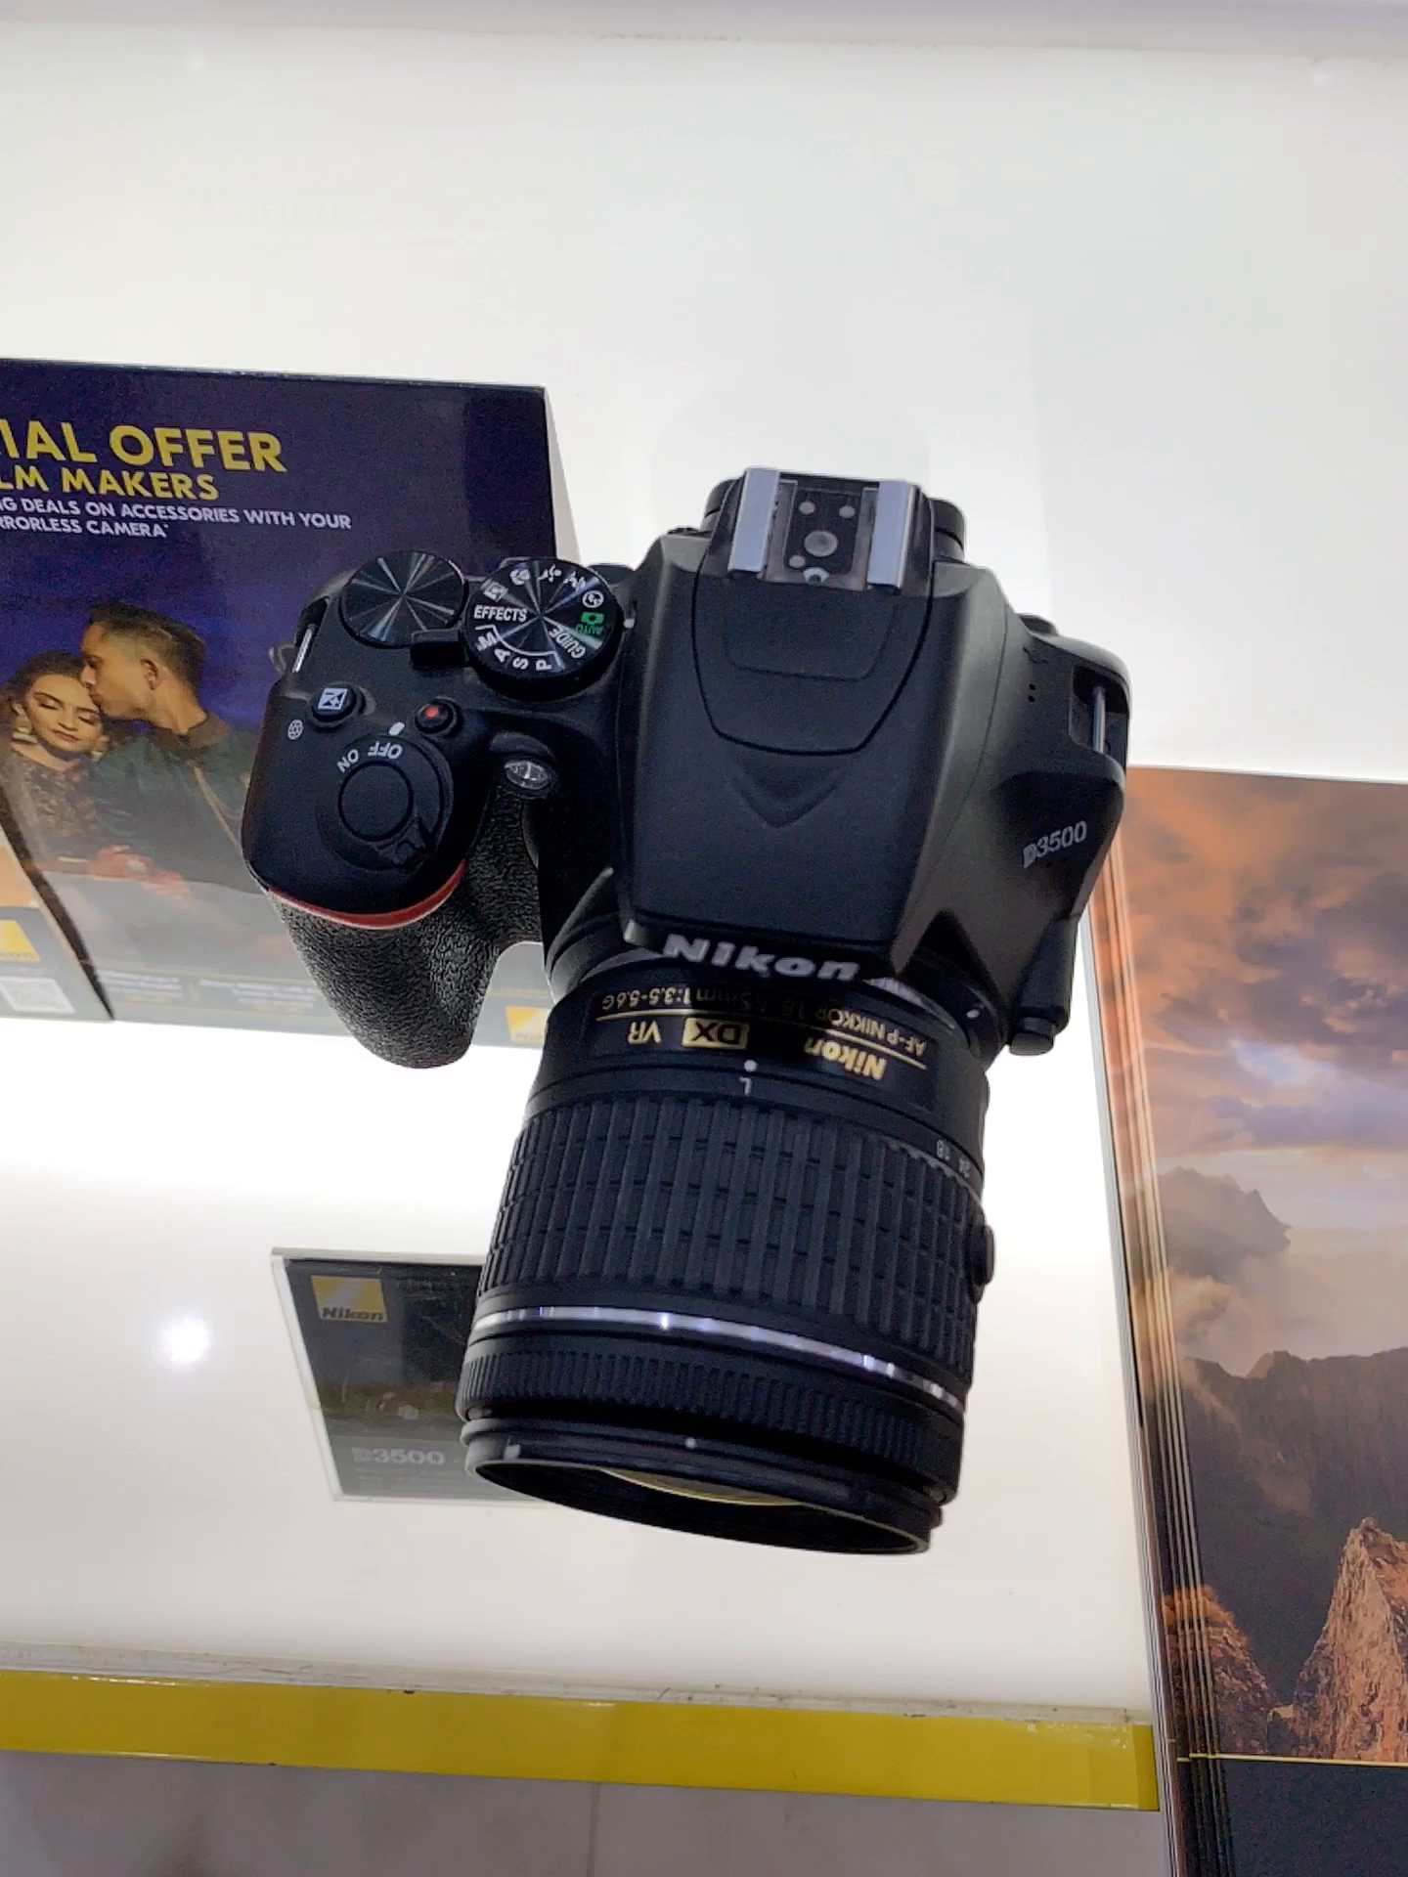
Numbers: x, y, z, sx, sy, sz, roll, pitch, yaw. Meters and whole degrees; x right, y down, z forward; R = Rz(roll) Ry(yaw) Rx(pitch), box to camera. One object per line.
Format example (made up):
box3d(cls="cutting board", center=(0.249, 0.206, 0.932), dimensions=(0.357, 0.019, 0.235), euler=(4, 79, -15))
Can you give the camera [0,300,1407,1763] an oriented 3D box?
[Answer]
box3d(cls="camera", center=(0.008, 0.006, 0.177), dimensions=(0.110, 0.070, 0.150), euler=(7, 60, 4))
